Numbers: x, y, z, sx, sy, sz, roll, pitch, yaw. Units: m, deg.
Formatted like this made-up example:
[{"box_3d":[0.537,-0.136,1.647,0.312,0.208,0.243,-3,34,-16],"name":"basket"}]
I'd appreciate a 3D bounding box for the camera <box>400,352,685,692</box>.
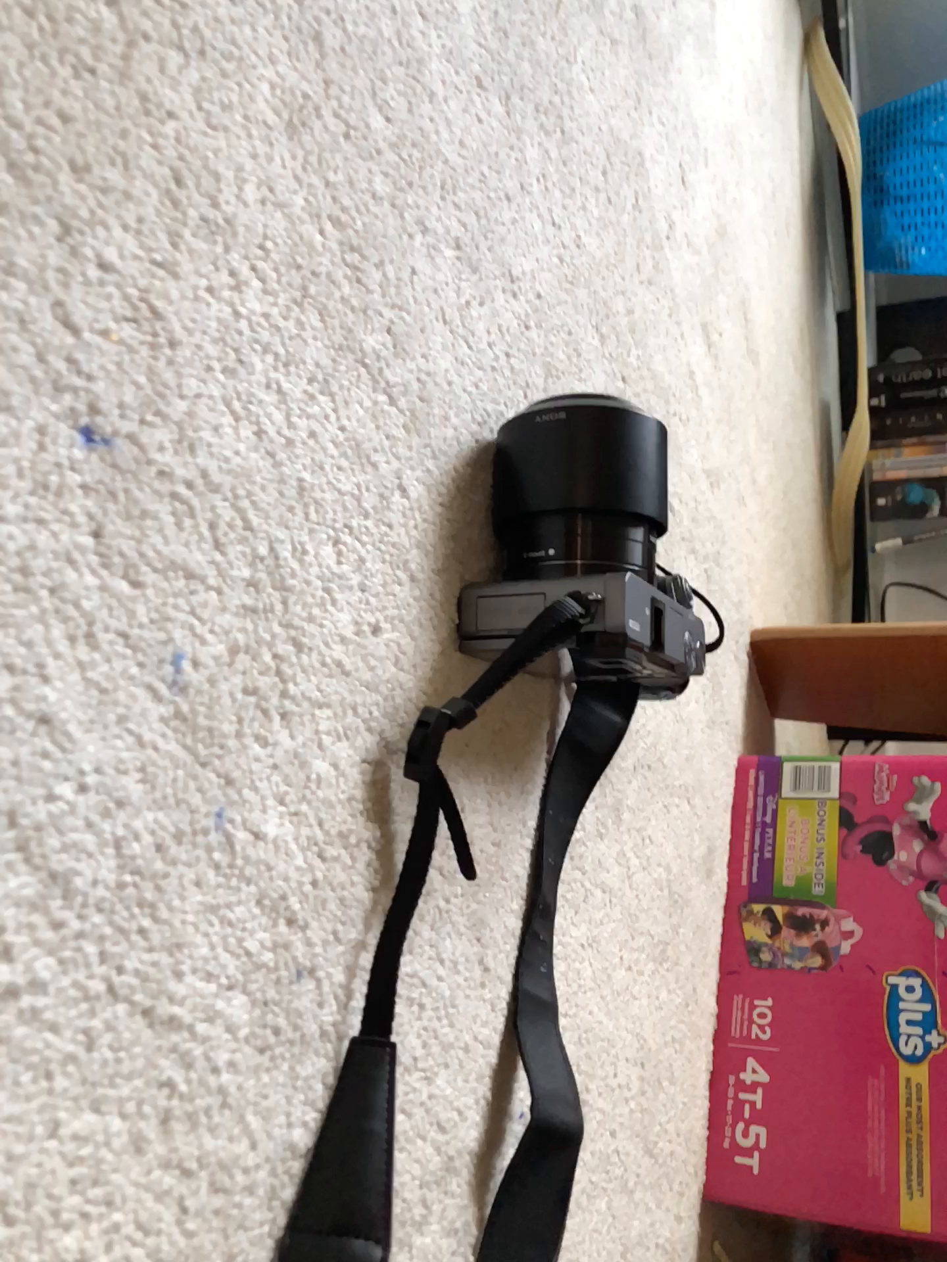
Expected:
[{"box_3d":[0.033,-0.032,0.405,0.121,0.070,0.100,20,70,-64],"name":"camera"}]
